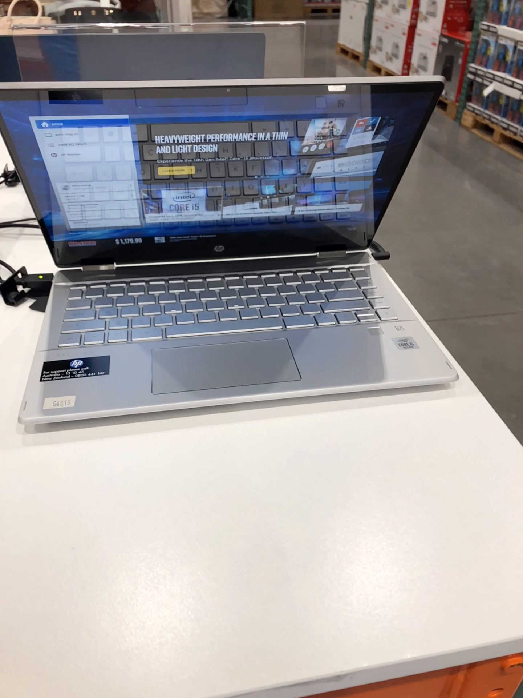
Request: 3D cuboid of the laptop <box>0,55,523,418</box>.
[{"bbox_3d":[-0.025,-0.102,0.445,0.317,0.185,0.207,-5,36,-7],"label":"laptop"}]
